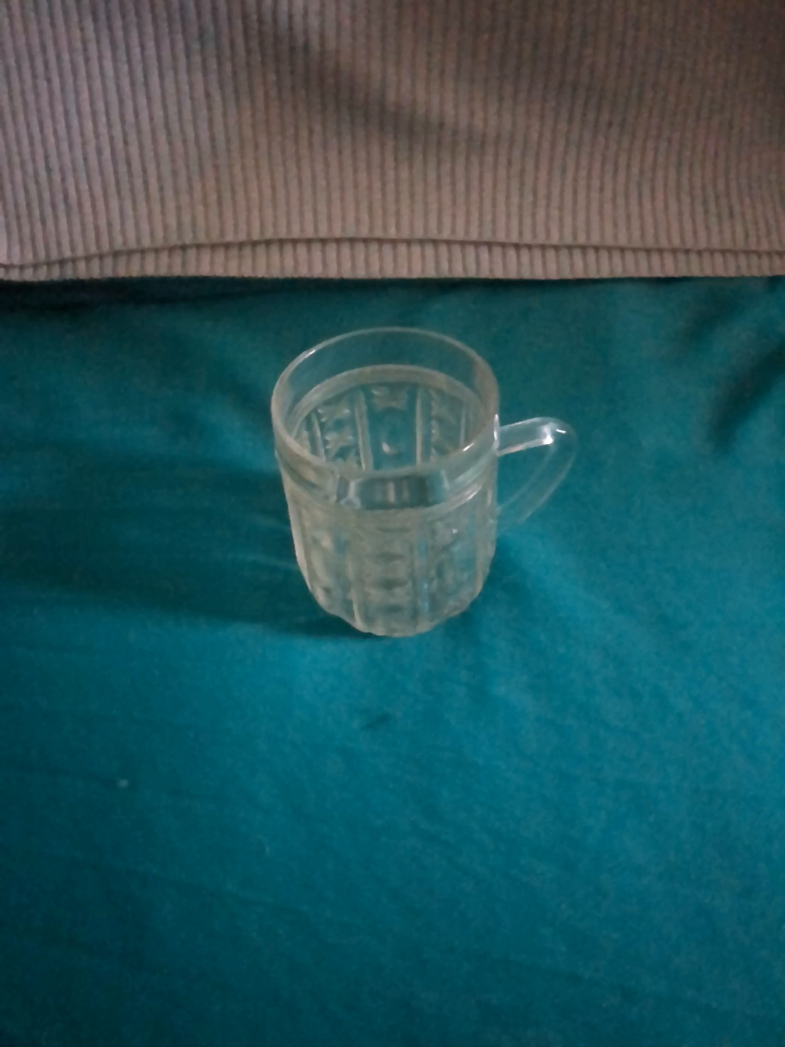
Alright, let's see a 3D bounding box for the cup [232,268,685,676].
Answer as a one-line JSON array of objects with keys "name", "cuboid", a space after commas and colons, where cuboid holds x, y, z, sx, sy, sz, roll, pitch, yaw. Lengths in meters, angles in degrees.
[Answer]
[{"name": "cup", "cuboid": [0.016, -0.015, 0.263, 0.104, 0.076, 0.064, -17, 54, -12]}]
